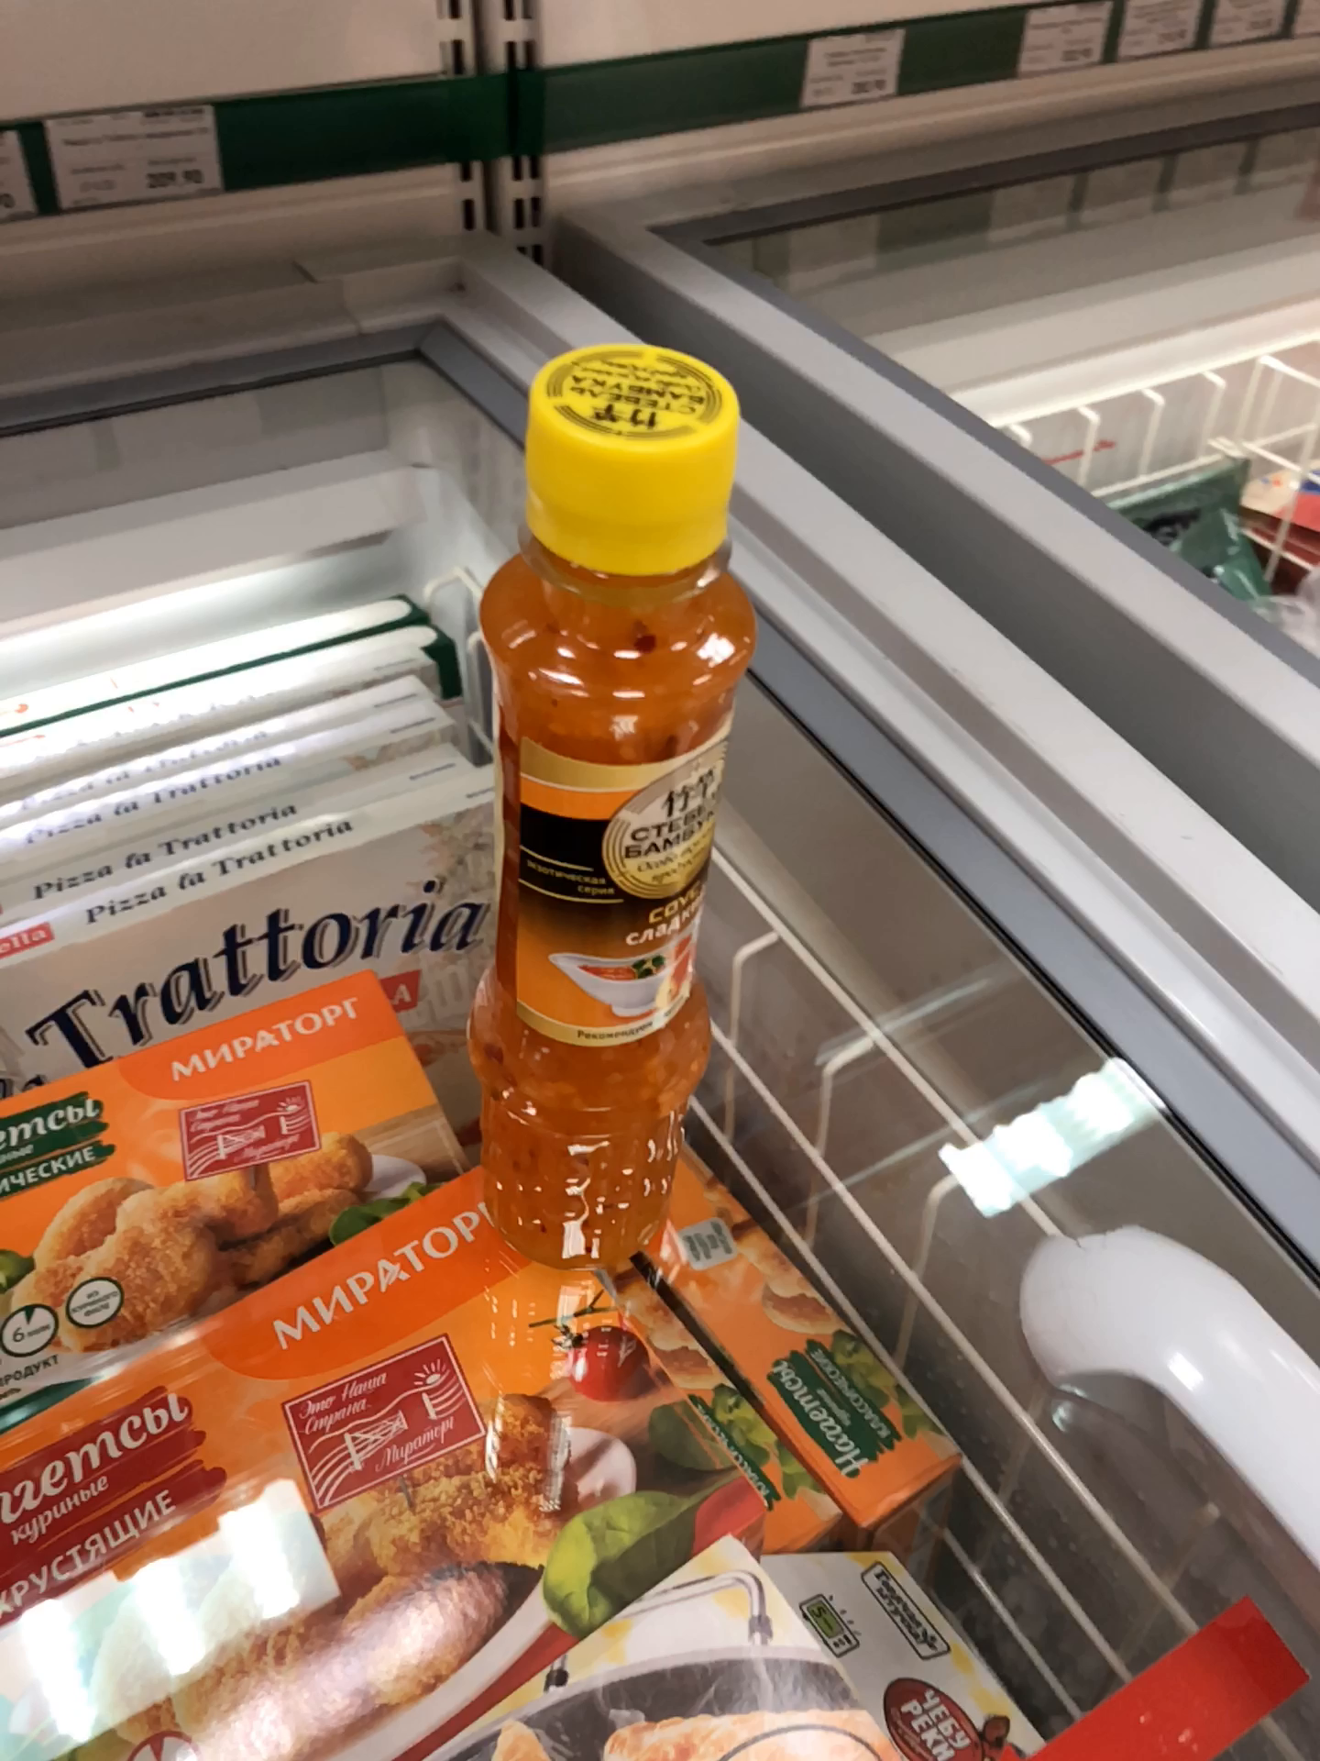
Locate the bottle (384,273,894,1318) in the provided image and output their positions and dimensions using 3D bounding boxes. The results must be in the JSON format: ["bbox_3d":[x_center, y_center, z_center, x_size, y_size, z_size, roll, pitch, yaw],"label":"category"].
[{"bbox_3d":[-0.008,0.002,0.272,0.049,0.201,0.051,3,47,-3],"label":"bottle"}]
